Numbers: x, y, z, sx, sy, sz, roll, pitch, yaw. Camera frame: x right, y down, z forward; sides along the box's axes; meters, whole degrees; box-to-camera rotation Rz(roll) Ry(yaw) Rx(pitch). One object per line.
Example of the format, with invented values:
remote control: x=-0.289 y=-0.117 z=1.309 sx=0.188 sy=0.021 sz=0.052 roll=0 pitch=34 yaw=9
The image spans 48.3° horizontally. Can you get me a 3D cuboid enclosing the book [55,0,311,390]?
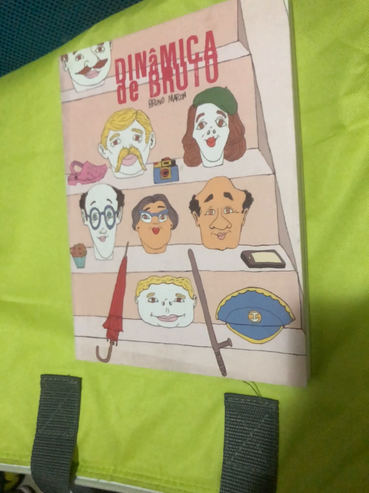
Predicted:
book: x=-0.011 y=-0.035 z=0.285 sx=0.179 sy=0.020 sz=0.239 roll=-3 pitch=91 yaw=29
